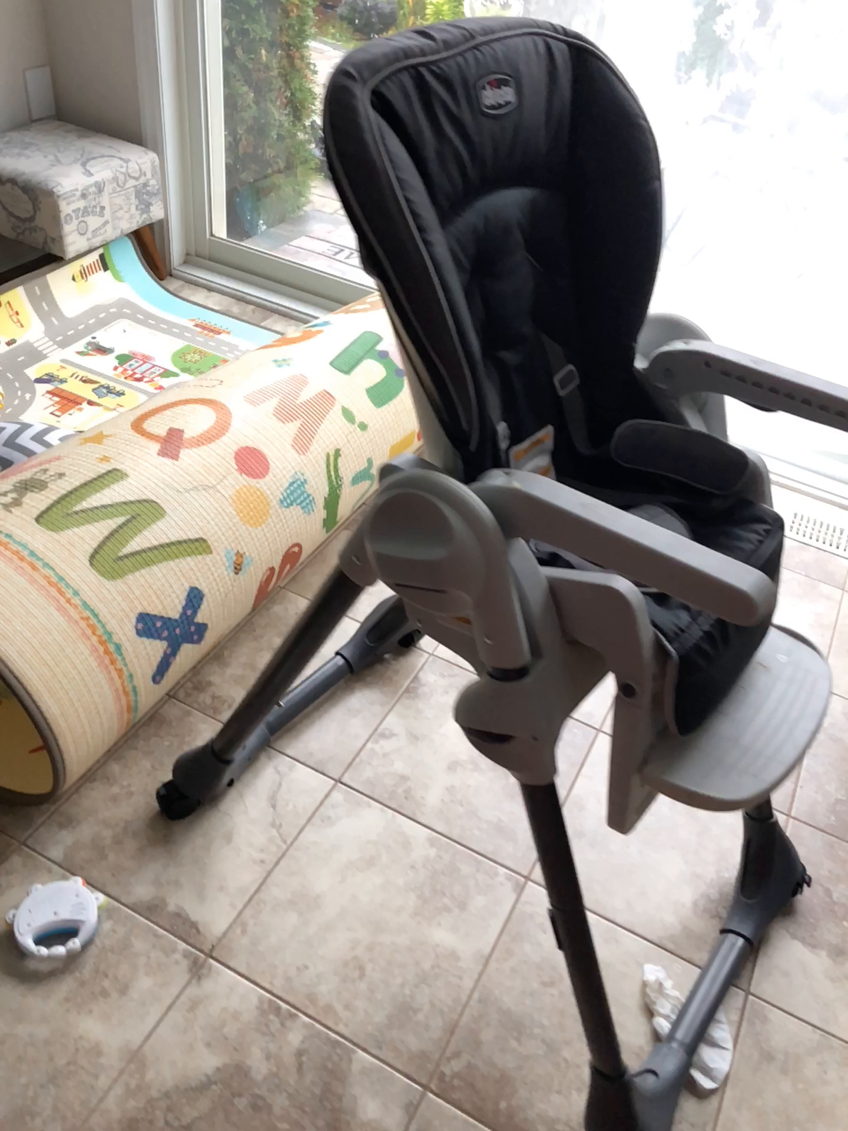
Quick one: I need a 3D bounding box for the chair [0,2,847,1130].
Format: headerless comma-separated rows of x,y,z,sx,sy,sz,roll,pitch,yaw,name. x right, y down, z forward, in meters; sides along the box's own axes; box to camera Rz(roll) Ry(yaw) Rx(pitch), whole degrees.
0.125,0.040,1.069,0.881,0.996,0.652,30,44,24,chair
